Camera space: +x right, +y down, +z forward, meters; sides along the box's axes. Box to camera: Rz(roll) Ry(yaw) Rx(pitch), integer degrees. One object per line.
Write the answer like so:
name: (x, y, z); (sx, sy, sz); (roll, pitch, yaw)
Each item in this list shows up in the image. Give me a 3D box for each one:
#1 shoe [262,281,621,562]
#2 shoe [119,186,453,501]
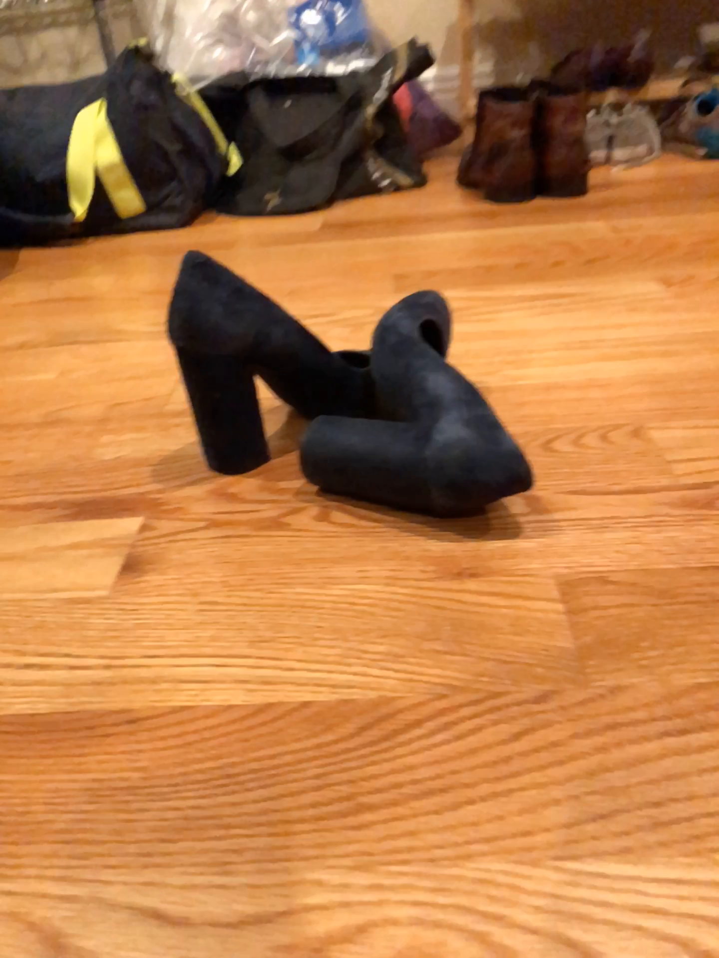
shoe: (0.064, -0.054, 0.516); (0.152, 0.080, 0.205); (12, 35, 28)
shoe: (-0.036, -0.108, 0.567); (0.080, 0.146, 0.227); (22, 40, 38)
